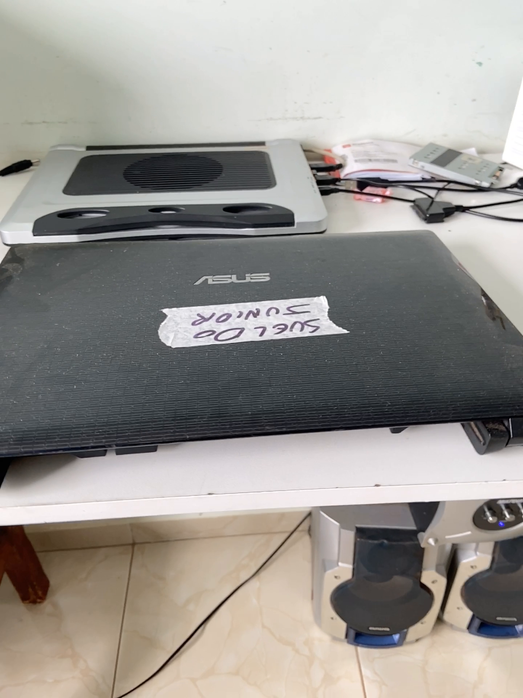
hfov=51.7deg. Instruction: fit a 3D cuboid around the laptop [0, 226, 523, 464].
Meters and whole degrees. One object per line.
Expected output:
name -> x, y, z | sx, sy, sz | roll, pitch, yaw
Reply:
laptop -> -0.022, -0.026, 0.377 | 0.362, 0.001, 0.238 | -4, 36, -3
